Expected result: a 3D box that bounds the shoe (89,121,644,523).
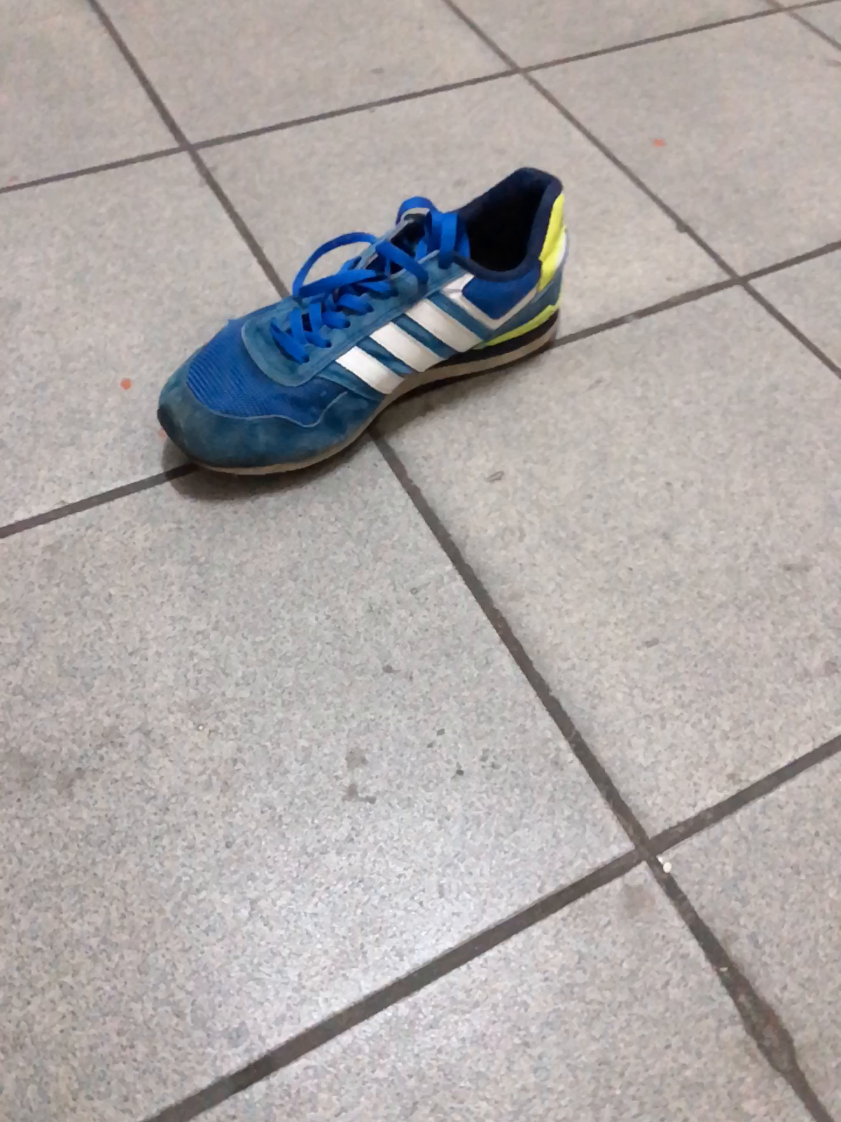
[{"bbox_3d":[-0.025,-0.151,0.553,0.292,0.099,0.110,-27,61,-21],"label":"shoe"}]
